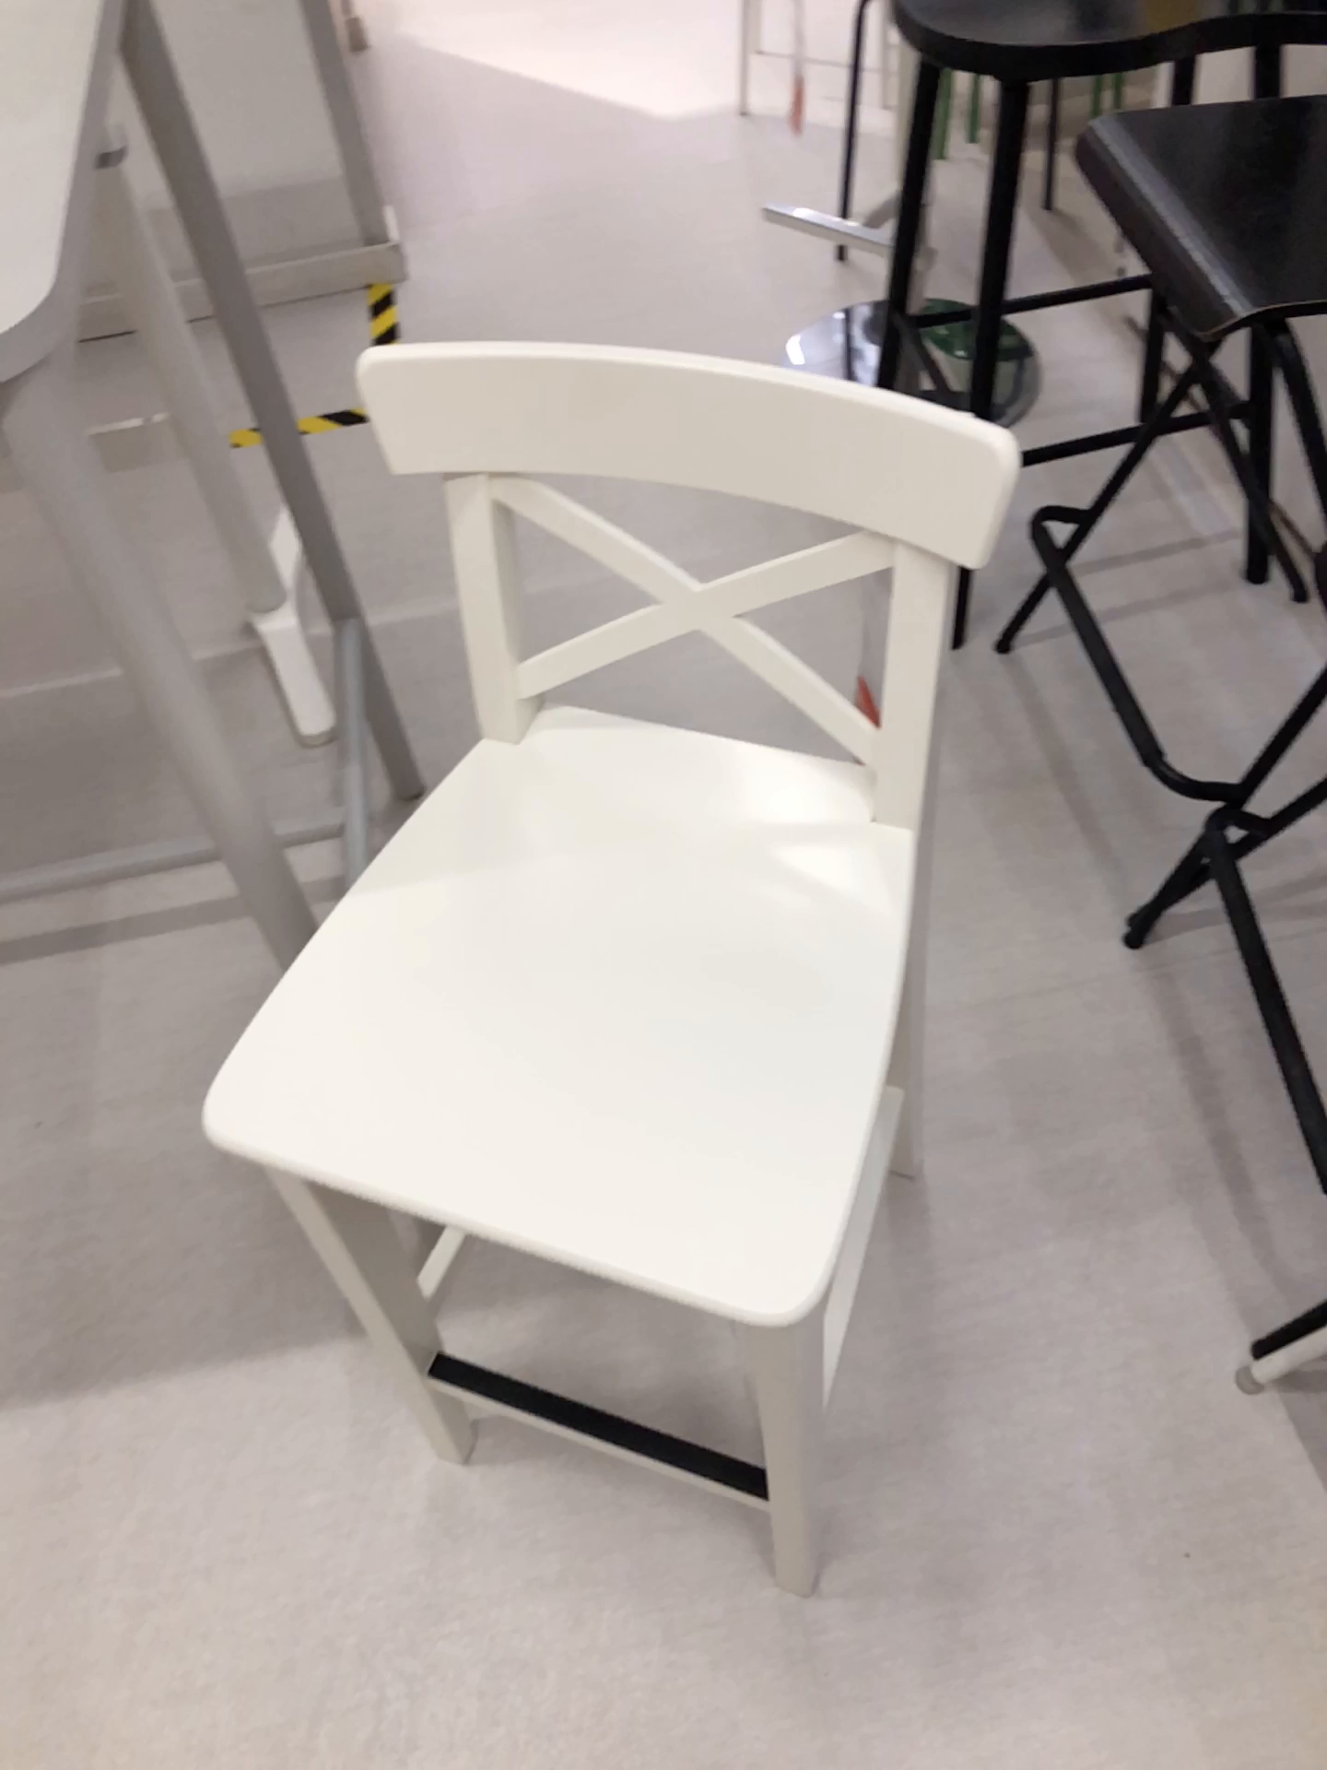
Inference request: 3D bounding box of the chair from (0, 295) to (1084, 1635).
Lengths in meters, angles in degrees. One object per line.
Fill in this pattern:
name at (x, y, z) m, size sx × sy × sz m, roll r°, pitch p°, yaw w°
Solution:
chair at (-0.021, 0.123, 0.992) m, size 0.421 × 0.835 × 0.422 m, roll 14°, pitch 55°, yaw 17°
